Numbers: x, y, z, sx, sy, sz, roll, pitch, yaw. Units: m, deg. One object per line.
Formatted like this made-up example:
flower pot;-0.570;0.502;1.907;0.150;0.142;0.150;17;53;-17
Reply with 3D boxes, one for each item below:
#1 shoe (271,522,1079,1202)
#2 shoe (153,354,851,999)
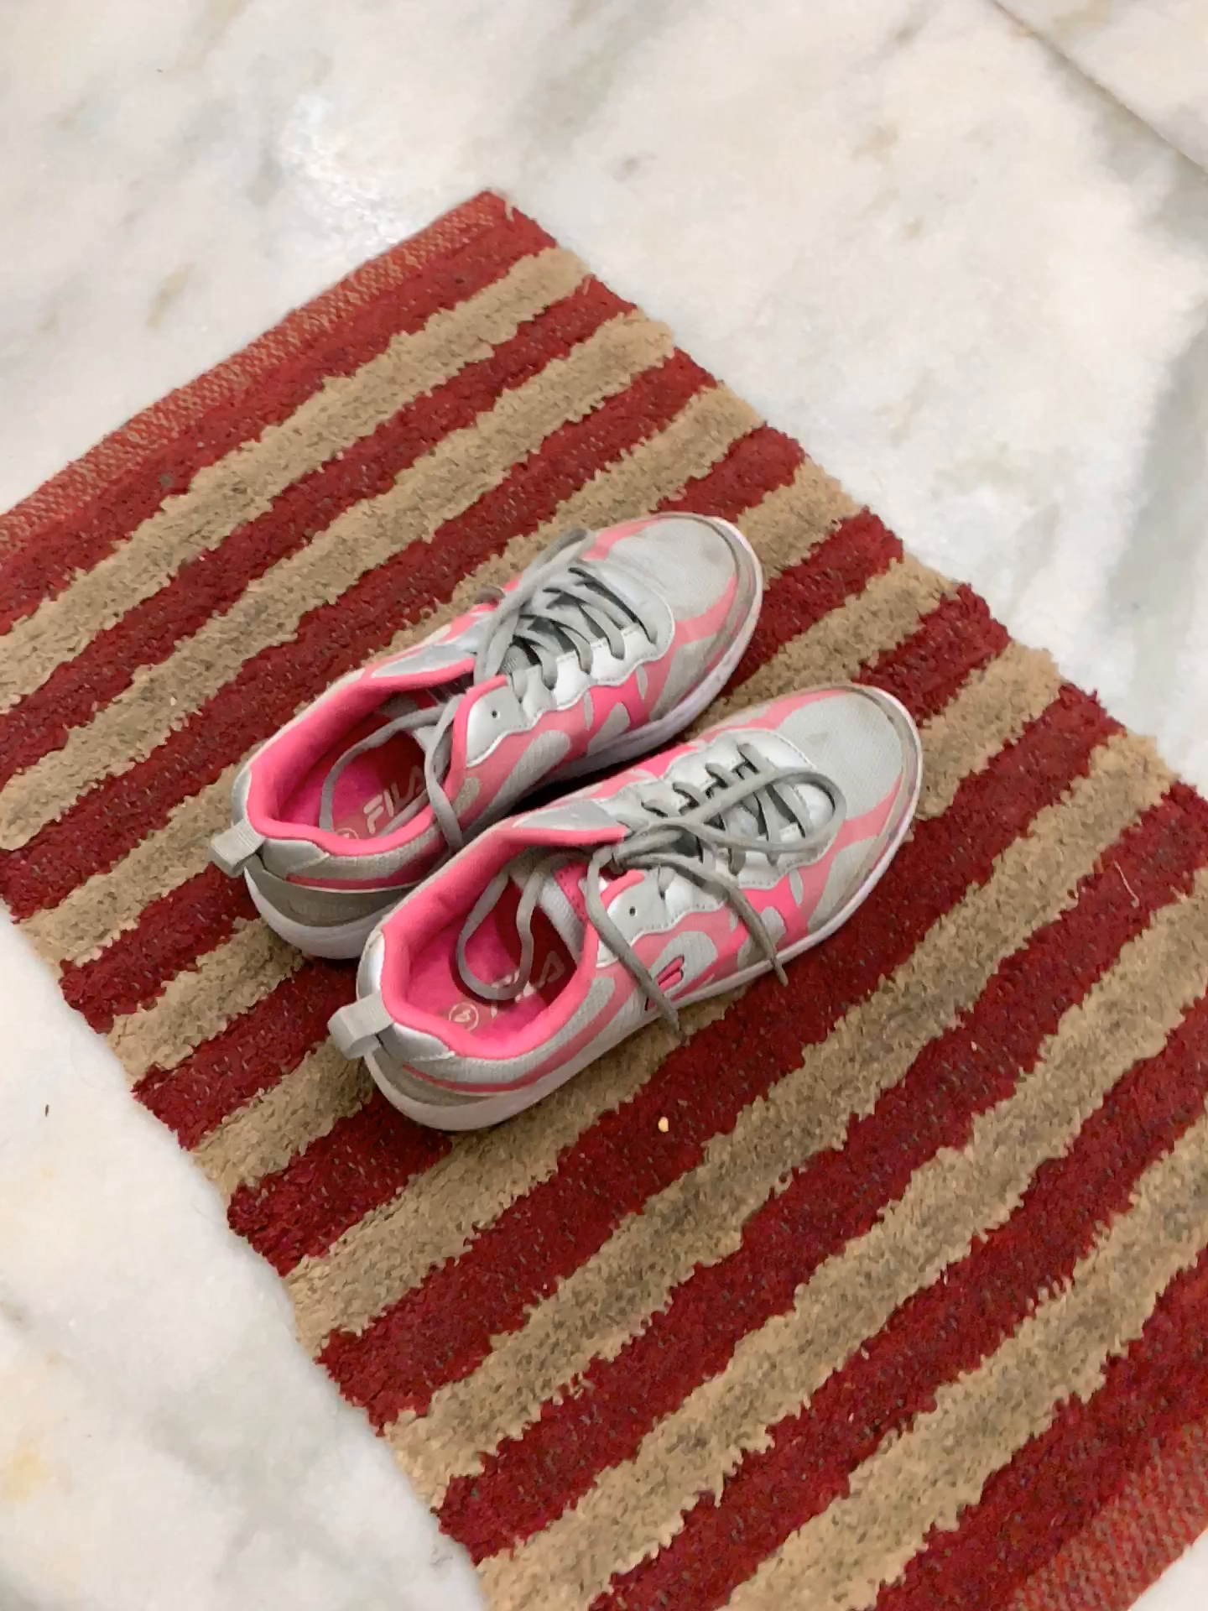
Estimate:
shoe;0.025;0.023;0.425;0.230;0.100;0.100;-33;71;-9
shoe;-0.030;-0.045;0.465;0.230;0.100;0.090;-39;72;-11
